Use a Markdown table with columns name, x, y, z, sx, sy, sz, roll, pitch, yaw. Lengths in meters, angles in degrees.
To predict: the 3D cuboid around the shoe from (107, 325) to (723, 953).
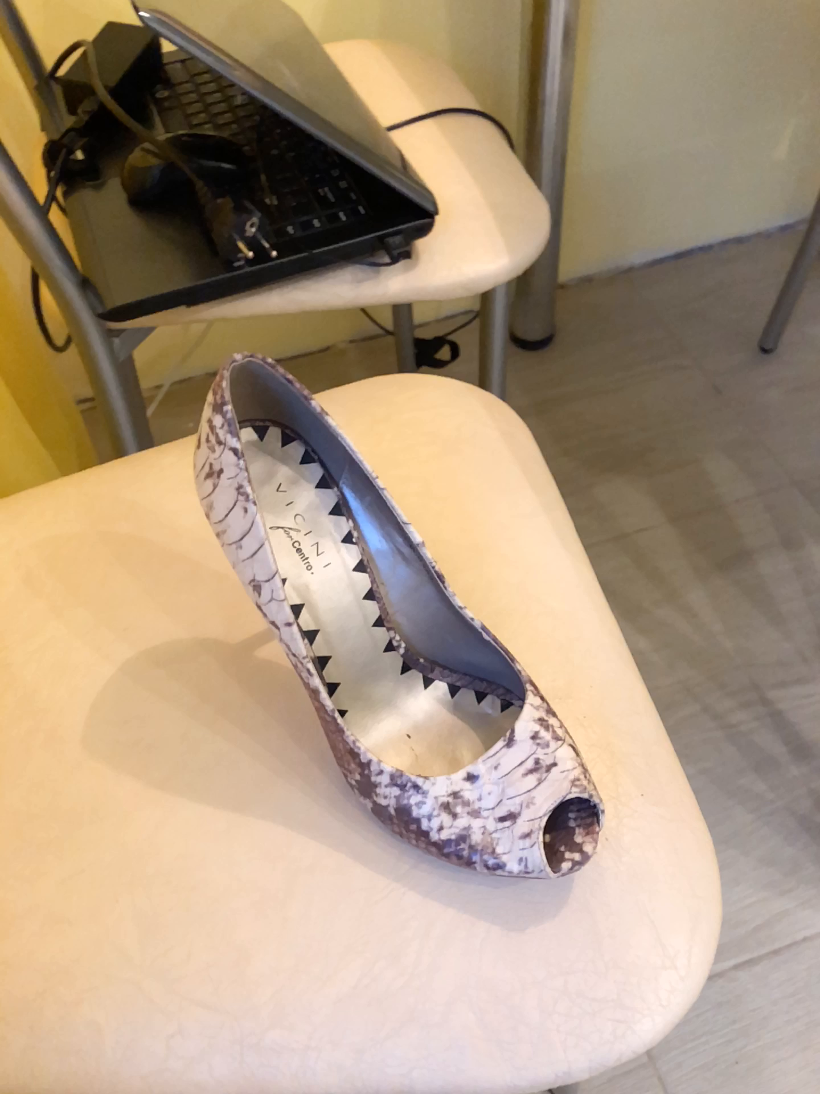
| name | x | y | z | sx | sy | sz | roll | pitch | yaw |
| --- | --- | --- | --- | --- | --- | --- | --- | --- | --- |
| shoe | -0.005 | 0.030 | 0.340 | 0.080 | 0.129 | 0.201 | -39 | 59 | -24 |
